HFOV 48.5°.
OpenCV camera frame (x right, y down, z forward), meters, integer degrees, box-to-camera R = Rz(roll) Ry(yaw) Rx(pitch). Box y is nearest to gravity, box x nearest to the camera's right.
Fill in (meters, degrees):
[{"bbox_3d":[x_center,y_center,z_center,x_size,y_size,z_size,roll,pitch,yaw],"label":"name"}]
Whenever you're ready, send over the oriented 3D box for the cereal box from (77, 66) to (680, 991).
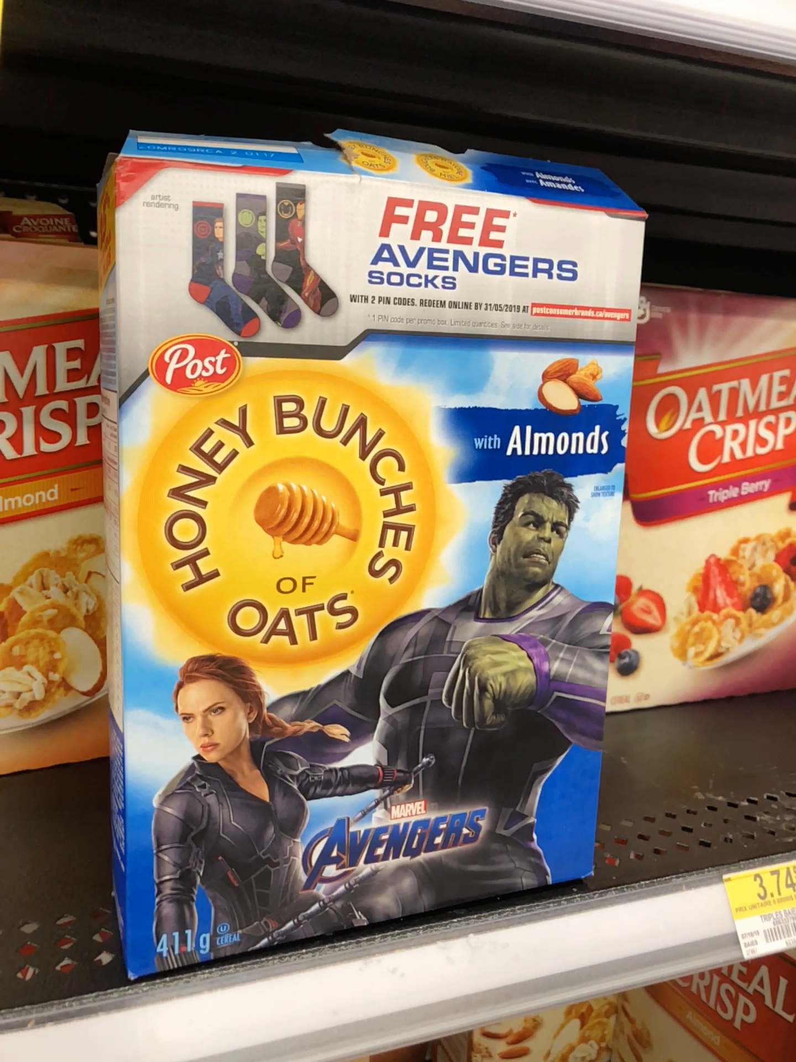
[{"bbox_3d":[-0.013,0.003,0.339,0.200,0.289,0.070,-2,13,-22],"label":"cereal box"}]
